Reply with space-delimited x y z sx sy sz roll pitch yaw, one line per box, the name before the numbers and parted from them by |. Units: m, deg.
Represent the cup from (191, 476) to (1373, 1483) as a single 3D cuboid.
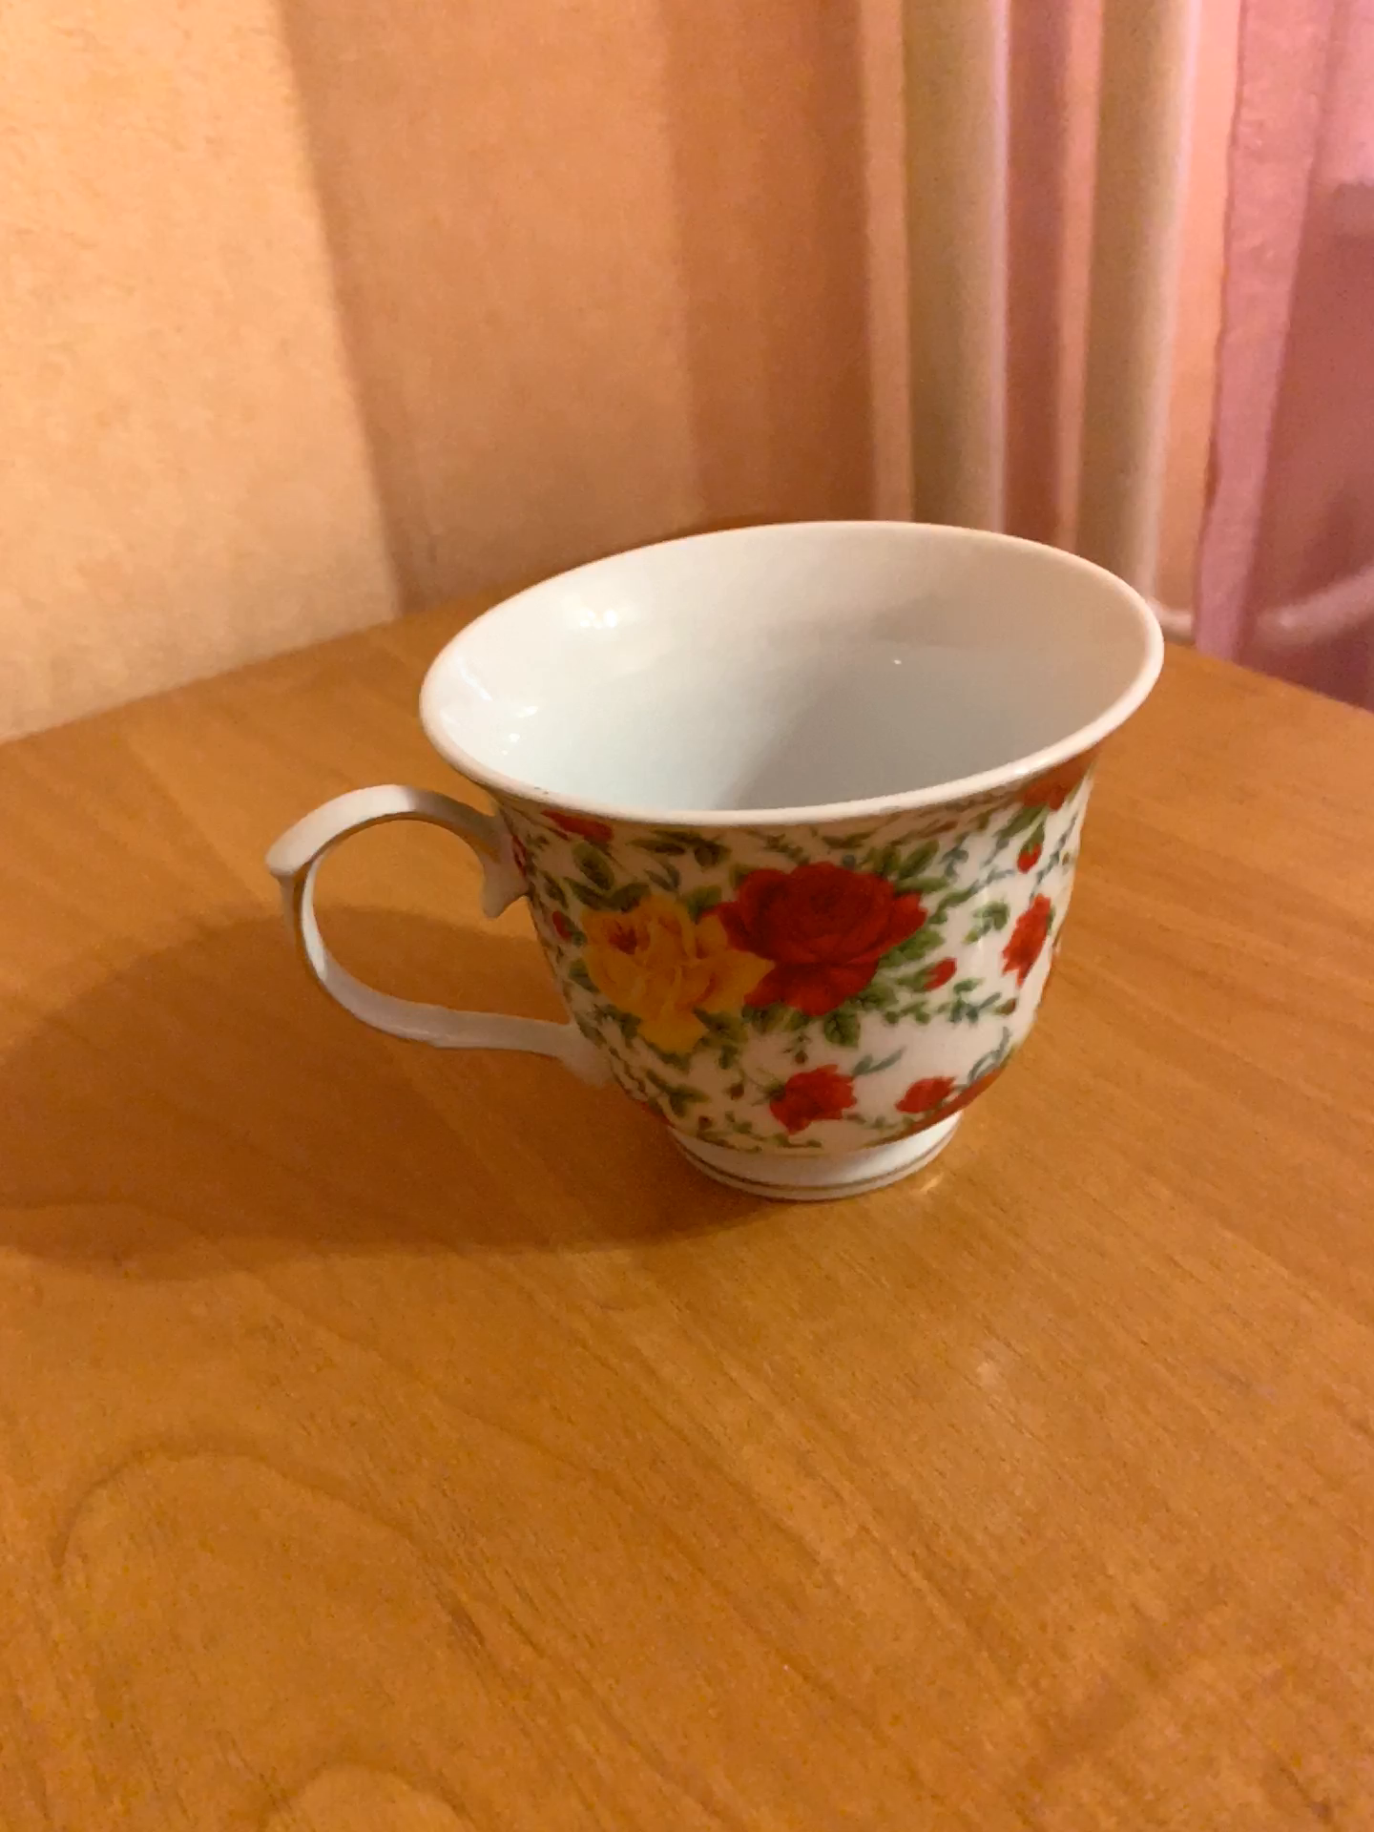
cup | 0.007 -0.005 0.203 0.120 0.067 0.100 -18 34 -18
